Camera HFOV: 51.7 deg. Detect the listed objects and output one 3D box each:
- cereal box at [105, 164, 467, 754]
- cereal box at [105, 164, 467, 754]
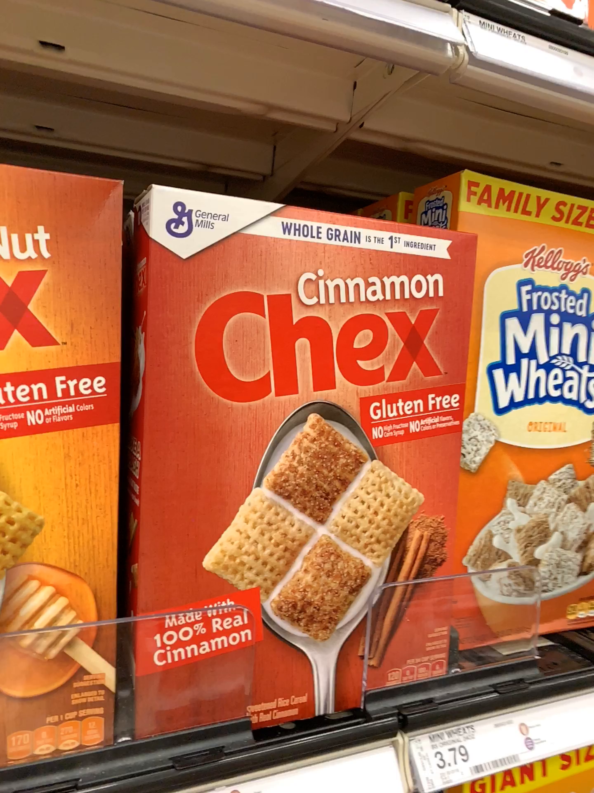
[{"bbox_3d":[-0.005,0.035,0.376,0.200,0.300,0.060,1,4,-24],"label":"cereal box"},{"bbox_3d":[-0.005,0.035,0.376,0.200,0.300,0.060,1,4,-24],"label":"cereal box"}]
